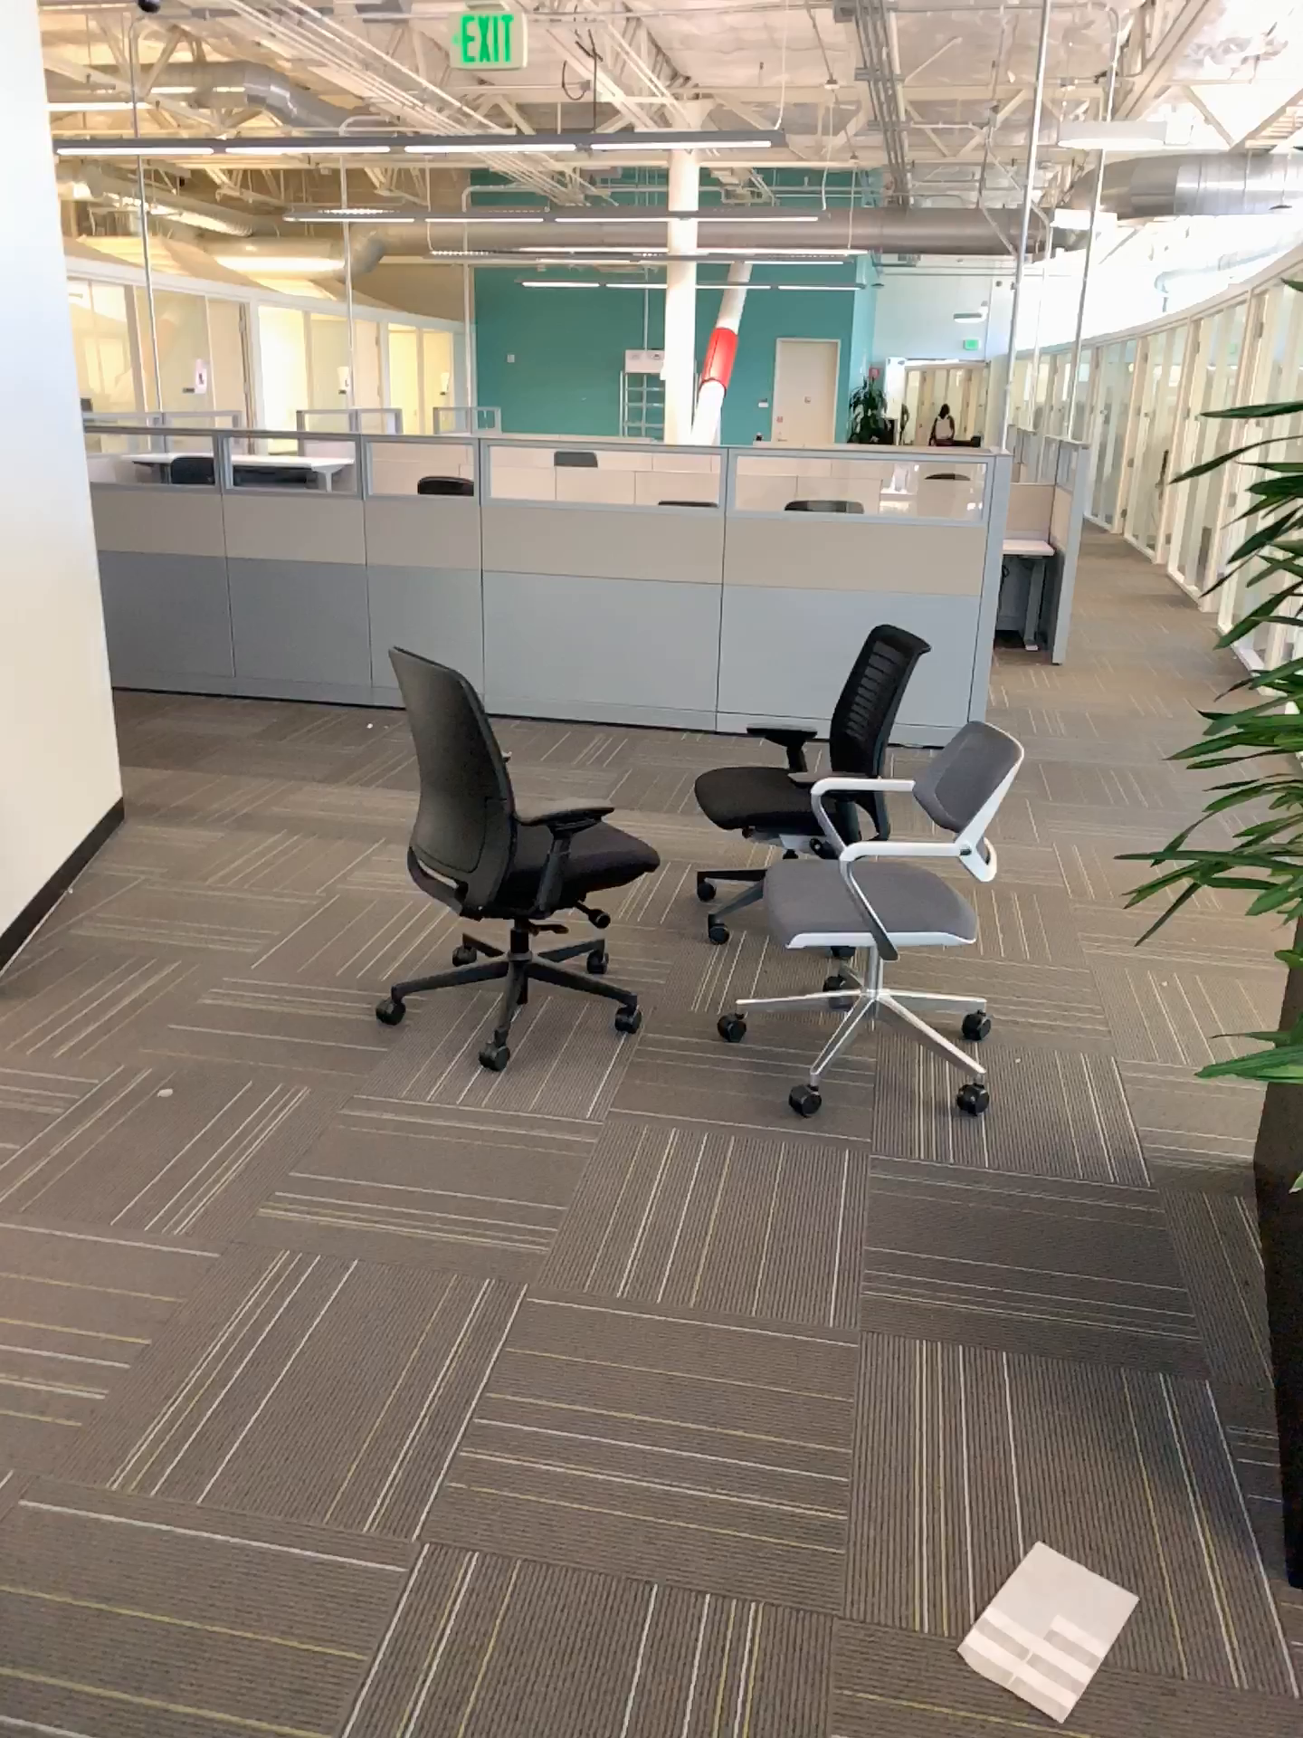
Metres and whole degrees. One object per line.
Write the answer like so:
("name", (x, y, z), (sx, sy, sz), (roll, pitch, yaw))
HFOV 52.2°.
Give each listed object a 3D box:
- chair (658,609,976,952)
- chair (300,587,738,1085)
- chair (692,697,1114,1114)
("chair", (0.491, -0.329, 4.341), (0.760, 0.926, 0.774), (-3, 18, -13))
("chair", (-0.344, -0.147, 3.300), (0.760, 0.955, 0.774), (-11, 23, -32))
("chair", (0.516, 0.051, 3.118), (0.760, 0.736, 0.774), (1, 19, -3))
